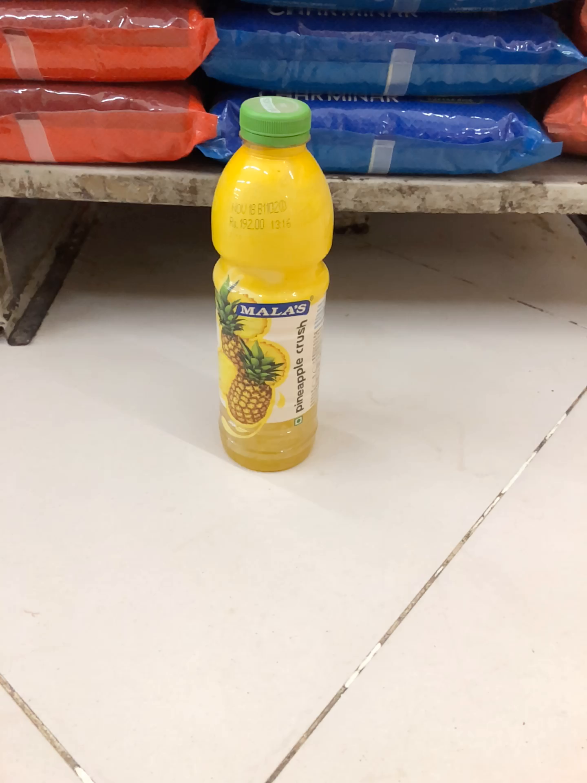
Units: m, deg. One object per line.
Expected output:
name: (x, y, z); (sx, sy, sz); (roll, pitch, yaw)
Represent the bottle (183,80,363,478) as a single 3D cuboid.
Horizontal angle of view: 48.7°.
bottle: (-0.018, -0.063, 0.437); (0.090, 0.248, 0.091); (1, 39, -1)
